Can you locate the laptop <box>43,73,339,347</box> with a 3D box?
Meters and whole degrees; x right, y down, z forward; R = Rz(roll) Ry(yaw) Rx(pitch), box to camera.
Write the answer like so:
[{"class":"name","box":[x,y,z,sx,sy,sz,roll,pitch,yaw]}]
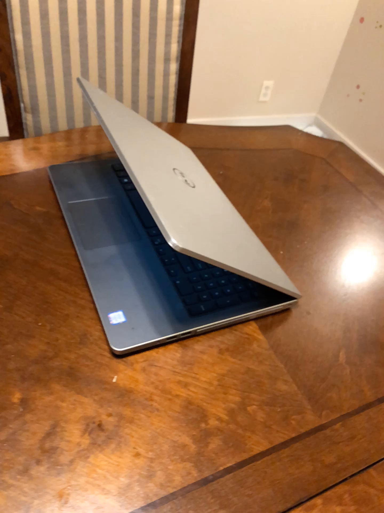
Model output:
[{"class":"laptop","box":[-0.036,-0.099,0.573,0.245,0.147,0.365,-11,47,-23]}]
